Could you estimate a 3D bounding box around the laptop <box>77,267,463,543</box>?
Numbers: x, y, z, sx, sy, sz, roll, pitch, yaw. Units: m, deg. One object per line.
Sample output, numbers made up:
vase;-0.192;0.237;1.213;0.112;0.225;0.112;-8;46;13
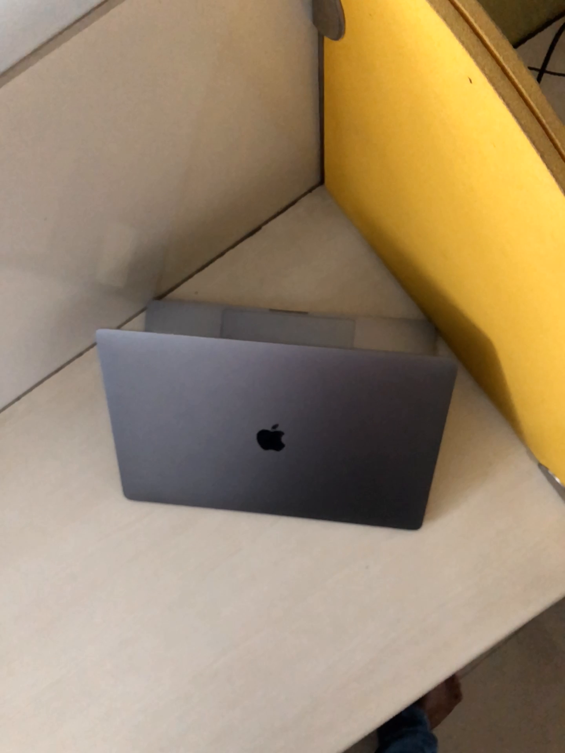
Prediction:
laptop;-0.008;0.030;0.668;0.344;0.152;0.235;5;86;4
